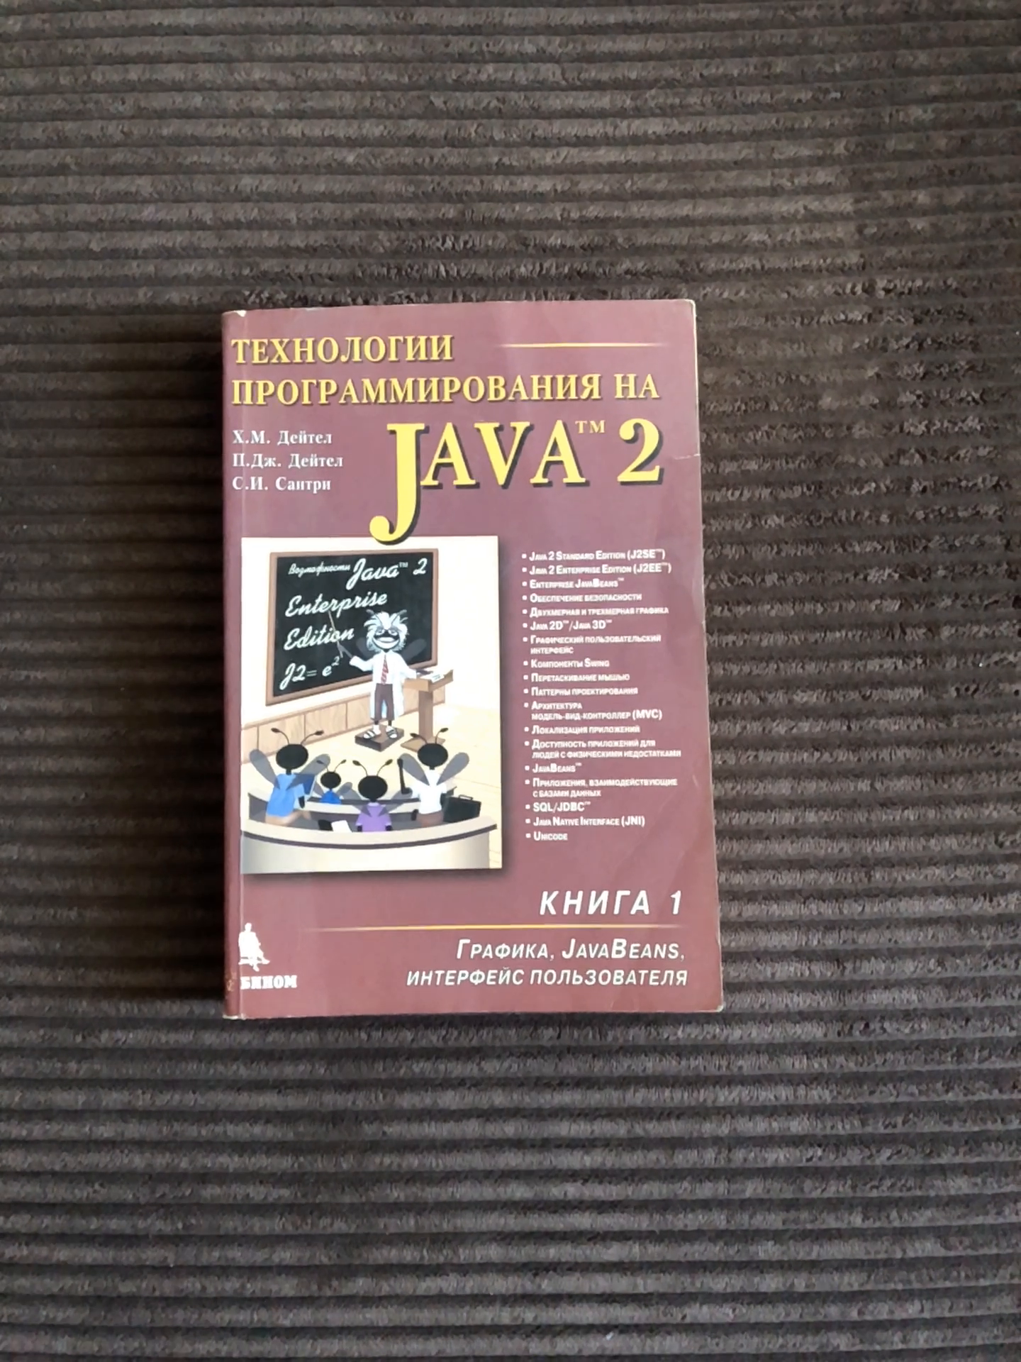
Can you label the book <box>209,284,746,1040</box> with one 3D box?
[{"bbox_3d":[-0.014,-0.008,0.388,0.165,0.050,0.240,-2,84,0],"label":"book"}]
